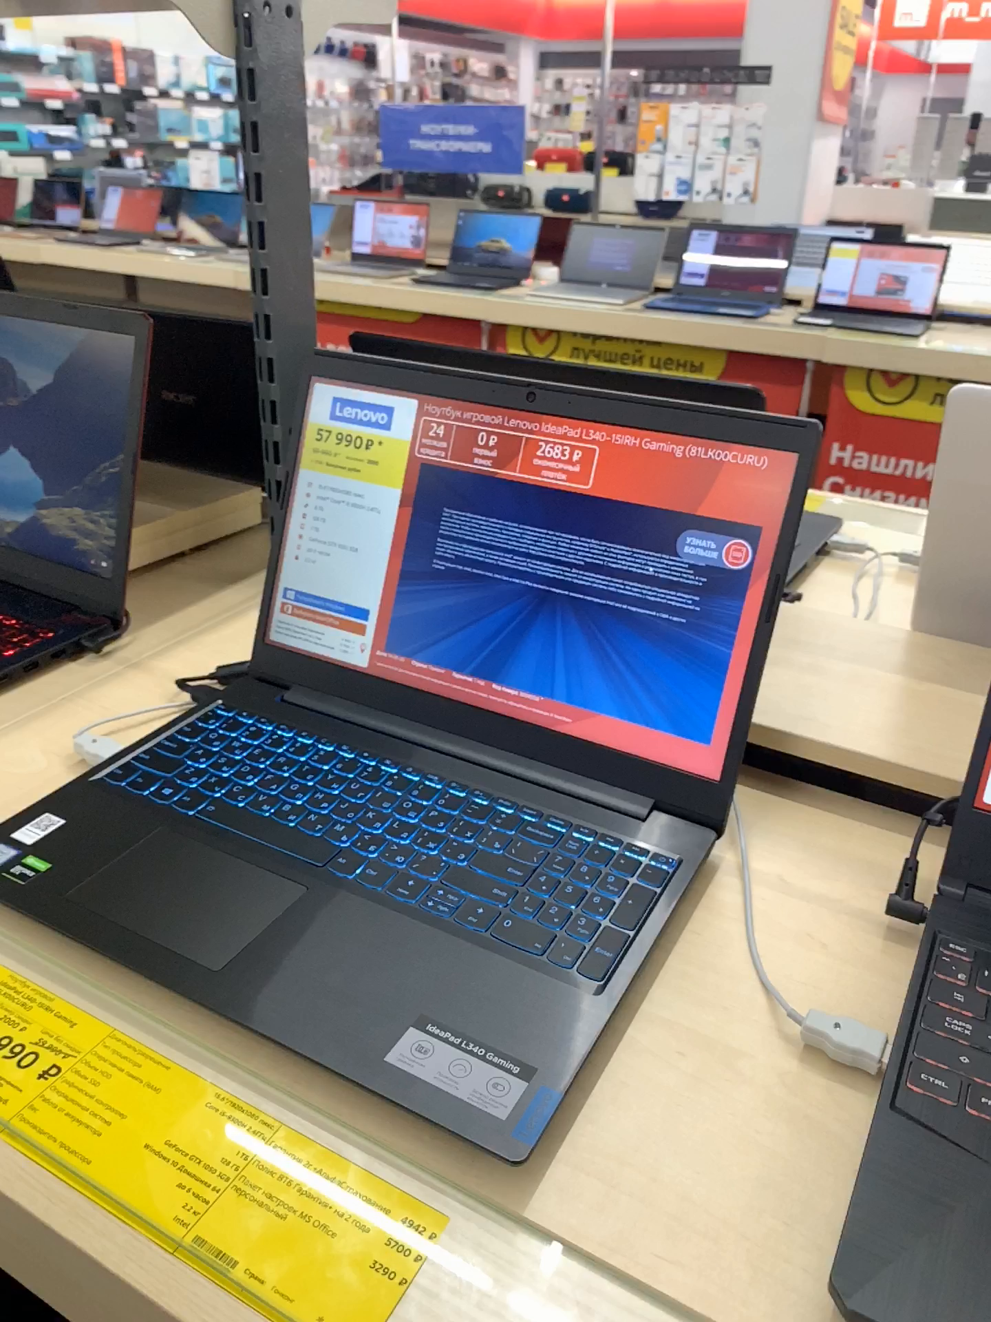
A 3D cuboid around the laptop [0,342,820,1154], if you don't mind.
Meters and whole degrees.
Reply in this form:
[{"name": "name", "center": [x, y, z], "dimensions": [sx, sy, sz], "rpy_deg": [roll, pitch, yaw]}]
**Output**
[{"name": "laptop", "center": [-0.058, -0.015, 0.571], "dimensions": [0.358, 0.223, 0.348], "rpy_deg": [15, 30, 25]}]
